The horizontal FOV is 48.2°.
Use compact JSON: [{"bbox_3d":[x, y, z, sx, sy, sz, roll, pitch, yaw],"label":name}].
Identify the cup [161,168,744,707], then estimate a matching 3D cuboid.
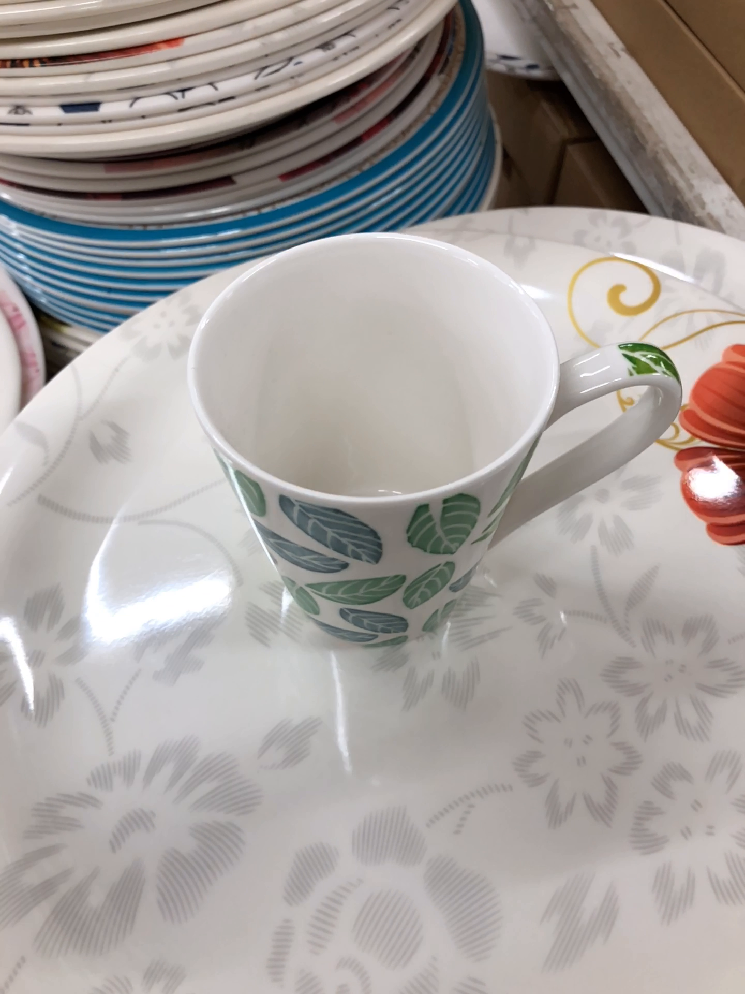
[{"bbox_3d":[0.015,-0.011,0.245,0.120,0.119,0.080,-13,58,-9],"label":"cup"}]
